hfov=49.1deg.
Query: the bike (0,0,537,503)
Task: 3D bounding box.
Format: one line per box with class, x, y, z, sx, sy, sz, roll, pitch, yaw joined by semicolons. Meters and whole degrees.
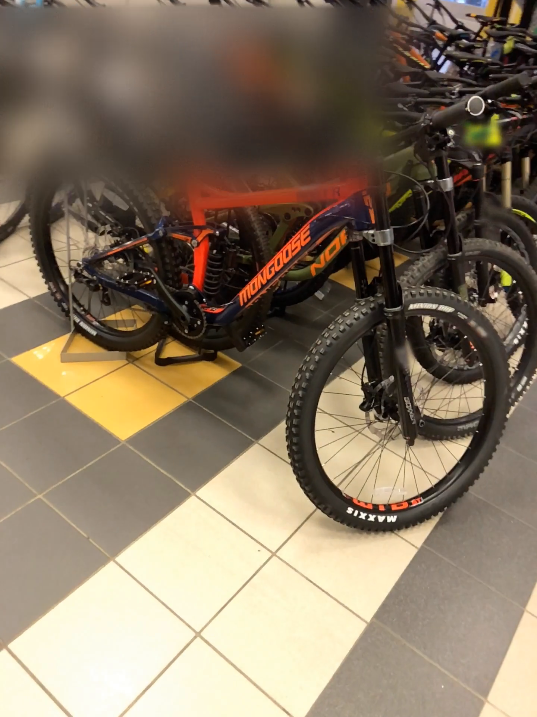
bike;-0.026;-0.454;1.858;1.698;1.108;0.805;19;35;18
